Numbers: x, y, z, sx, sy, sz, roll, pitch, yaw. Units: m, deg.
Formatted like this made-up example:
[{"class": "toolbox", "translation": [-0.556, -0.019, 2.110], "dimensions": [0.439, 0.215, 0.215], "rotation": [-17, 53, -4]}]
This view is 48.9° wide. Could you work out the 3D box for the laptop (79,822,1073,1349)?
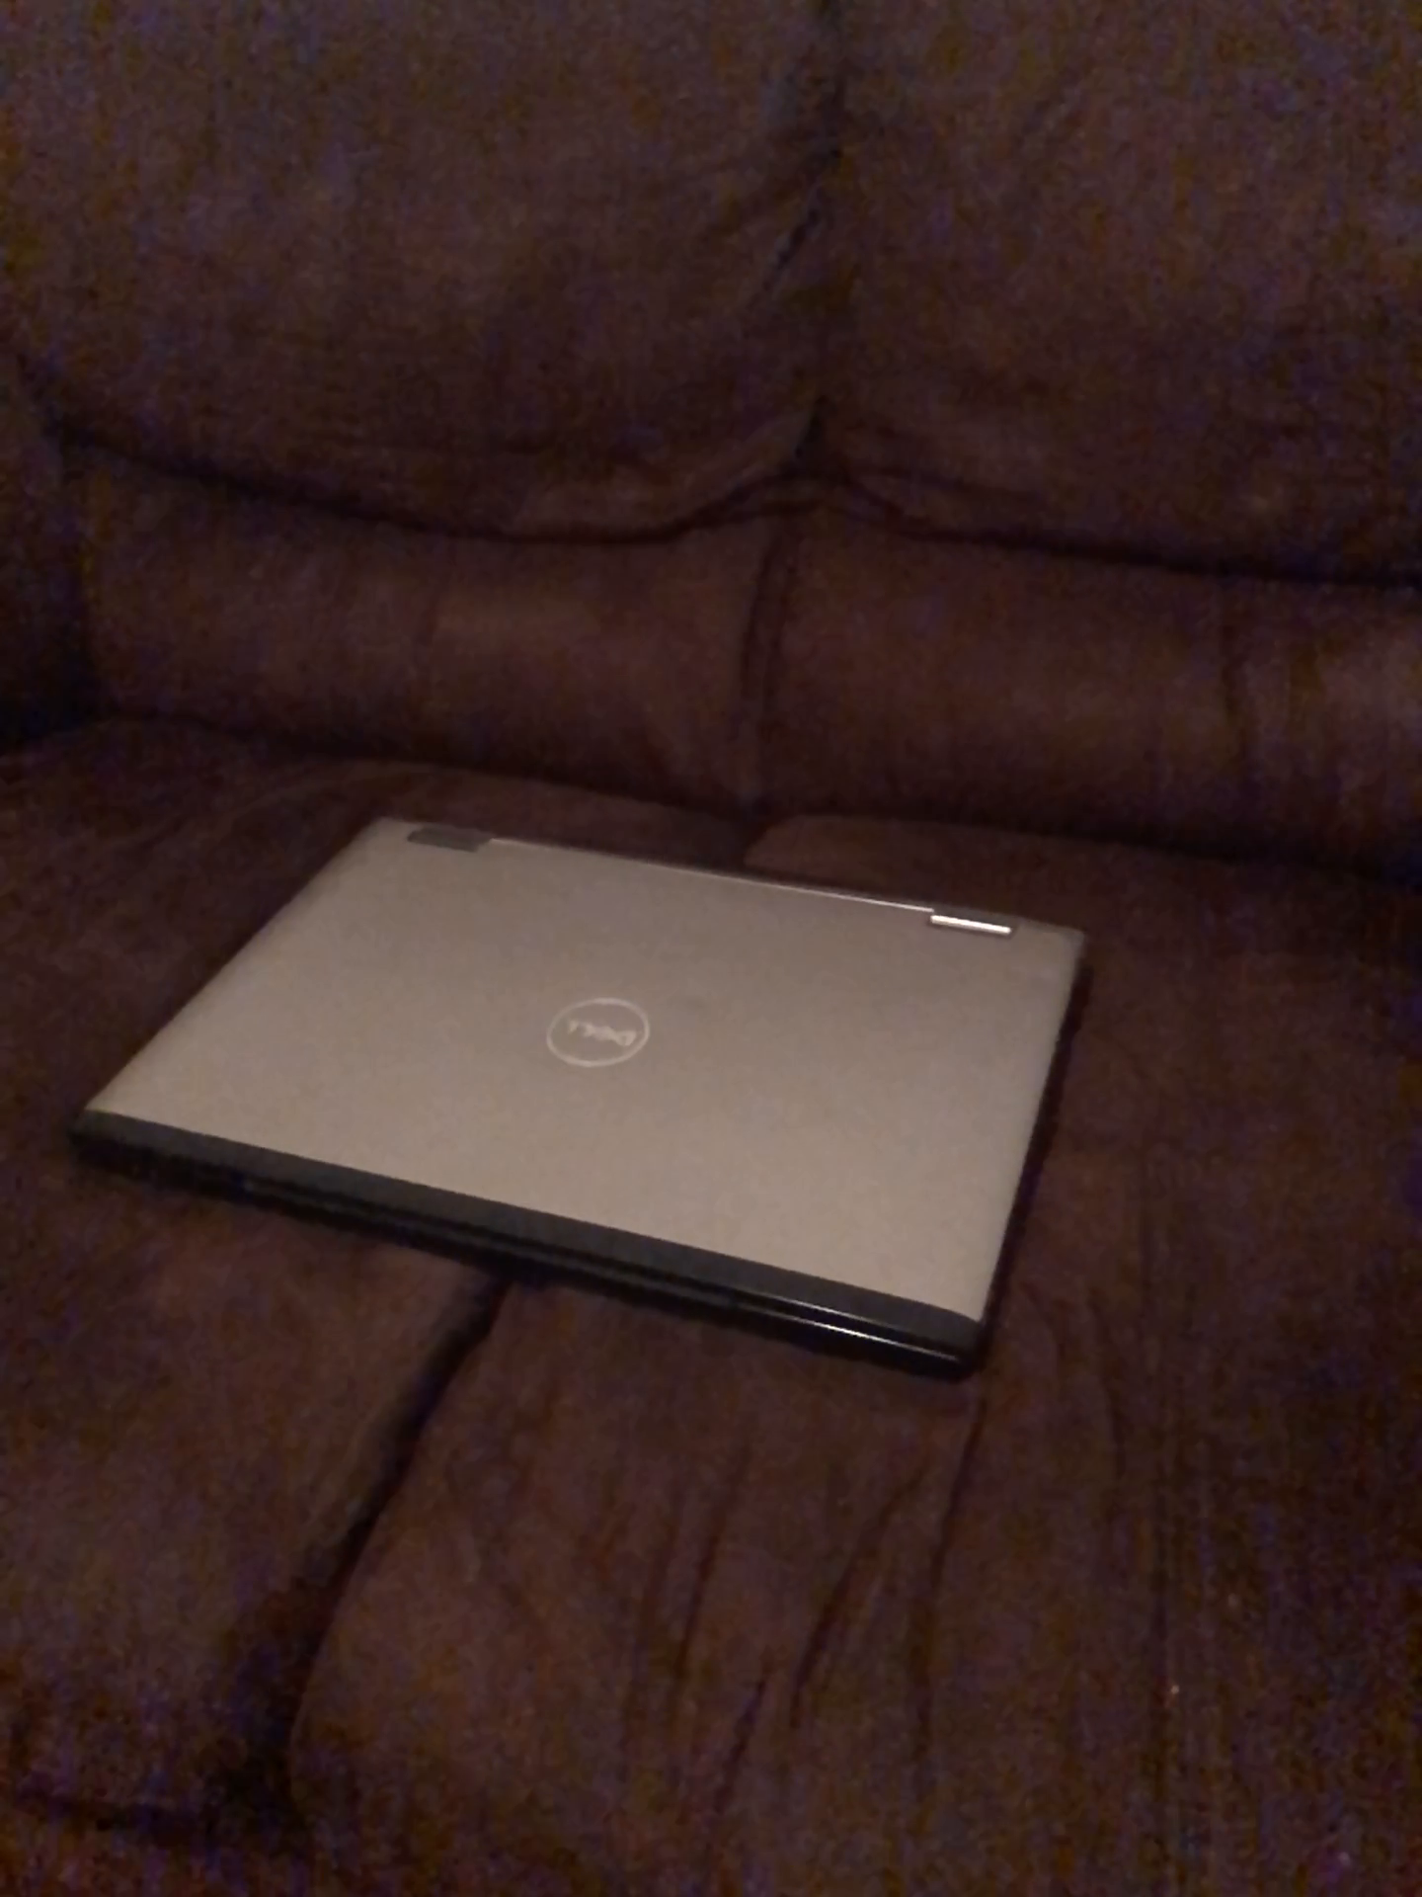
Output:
[{"class": "laptop", "translation": [-0.044, 0.035, 0.694], "dimensions": [0.370, 0.002, 0.261], "rotation": [10, 36, 16]}]
